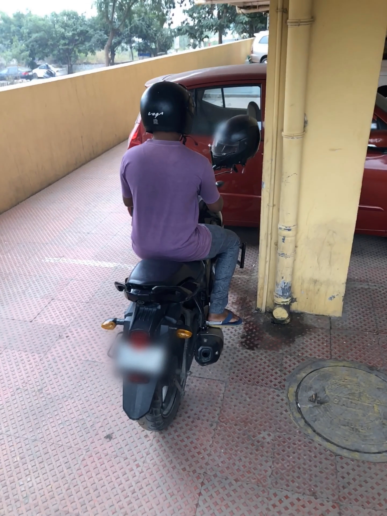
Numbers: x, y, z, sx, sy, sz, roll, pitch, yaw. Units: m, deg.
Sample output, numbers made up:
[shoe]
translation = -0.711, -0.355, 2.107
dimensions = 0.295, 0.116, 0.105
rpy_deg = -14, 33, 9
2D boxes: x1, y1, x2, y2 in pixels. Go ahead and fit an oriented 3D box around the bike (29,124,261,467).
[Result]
[bike]
translation = -0.102, -0.014, 2.614
dimensions = 0.852, 1.155, 1.916
rpy_deg = 1, 29, 5
